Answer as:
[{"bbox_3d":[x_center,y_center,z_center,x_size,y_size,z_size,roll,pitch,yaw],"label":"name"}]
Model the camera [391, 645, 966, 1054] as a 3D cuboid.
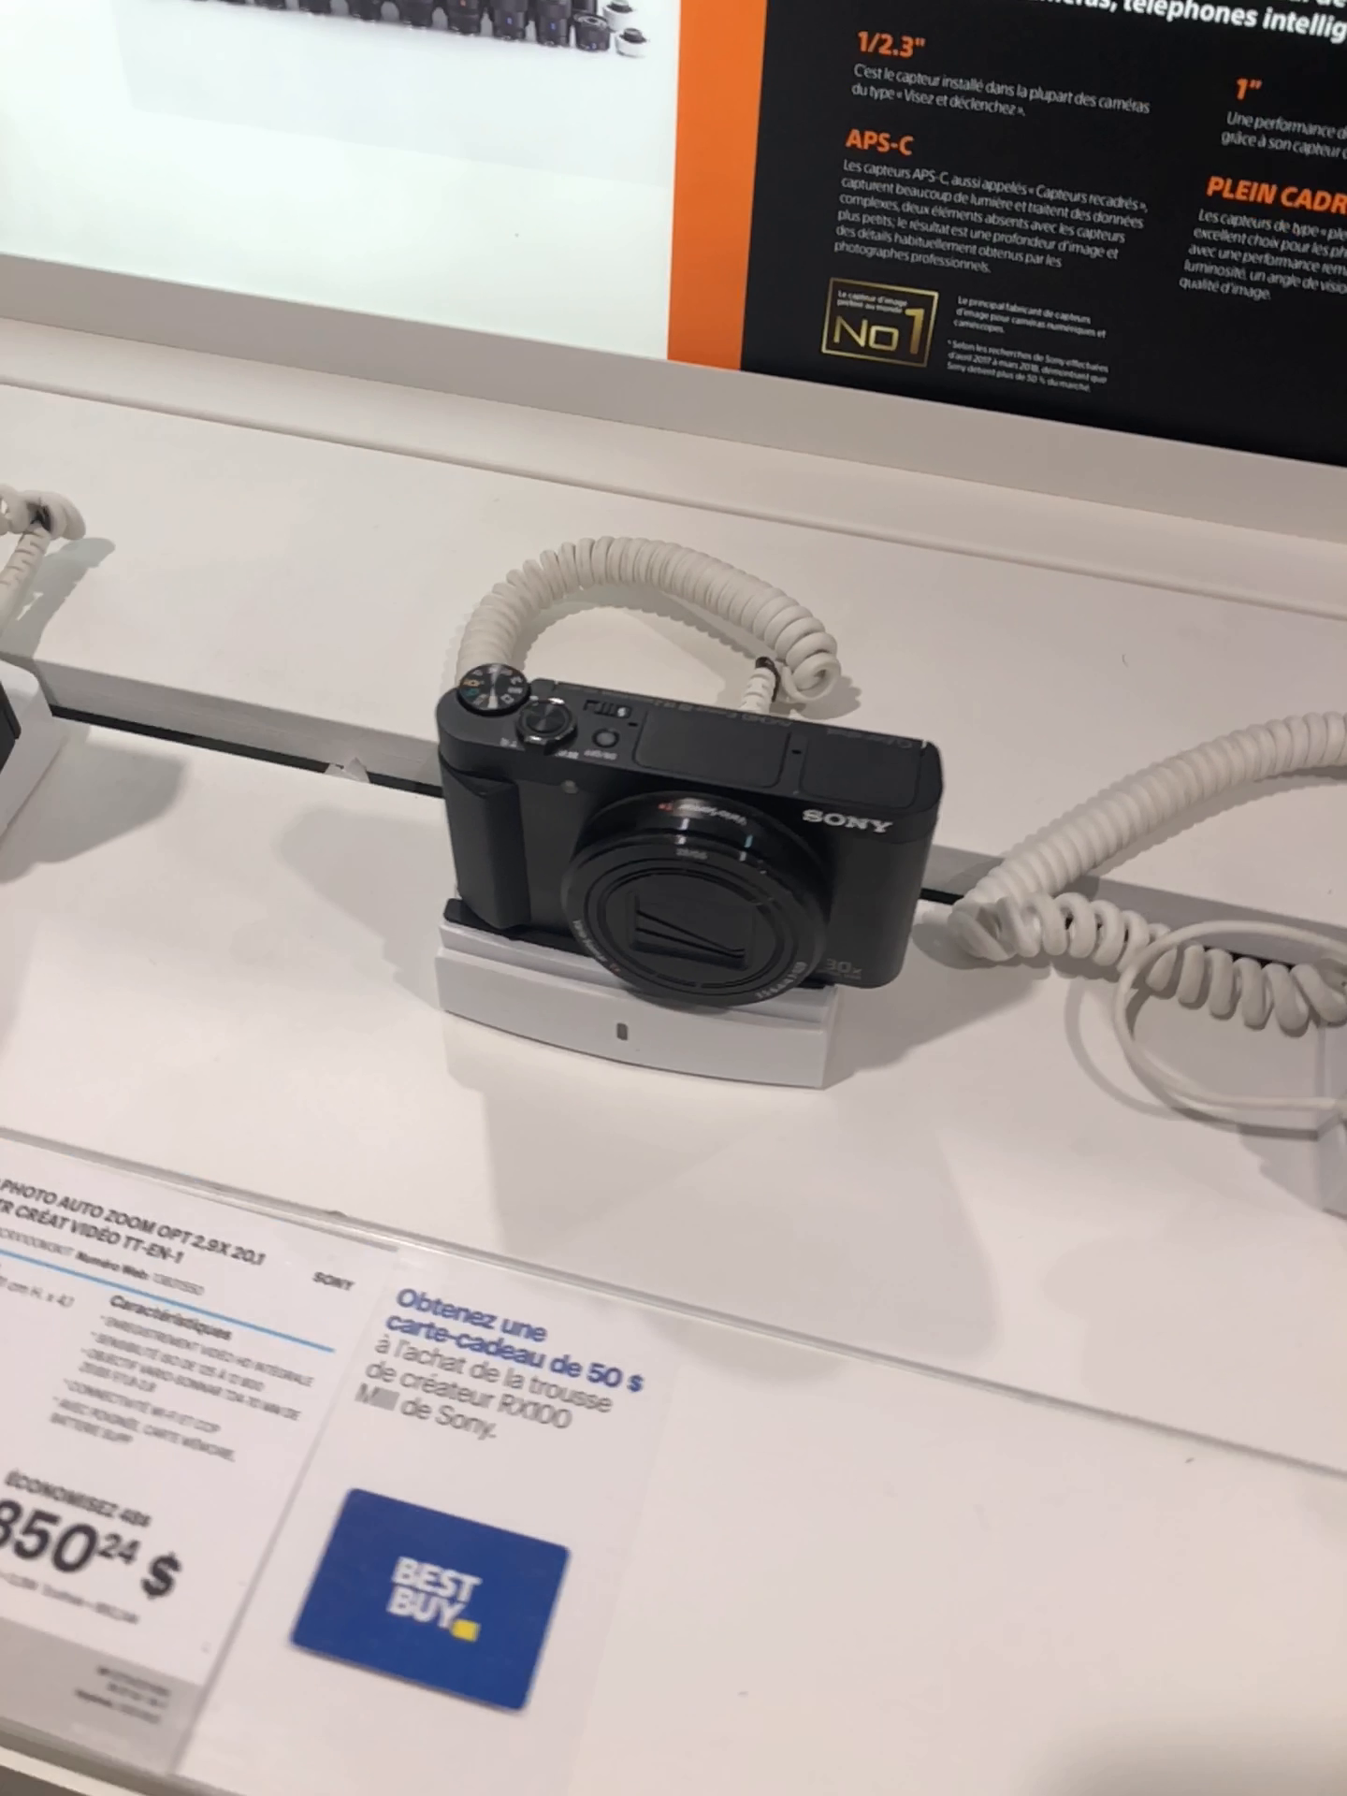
[{"bbox_3d":[0.001,-0.009,0.320,0.110,0.069,0.030,10,48,7],"label":"camera"}]
